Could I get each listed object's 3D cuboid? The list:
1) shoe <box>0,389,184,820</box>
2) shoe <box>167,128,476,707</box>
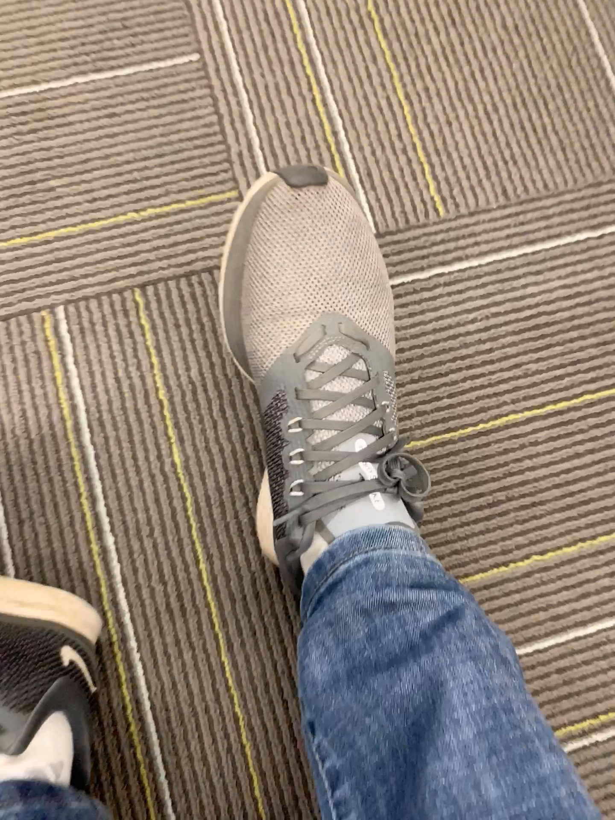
[{"bbox_3d":[-0.204,0.144,0.318,0.119,0.294,0.122,-34,48,-1],"label":"shoe"},{"bbox_3d":[0.012,0.005,0.367,0.119,0.122,0.294,-12,117,-11],"label":"shoe"}]
